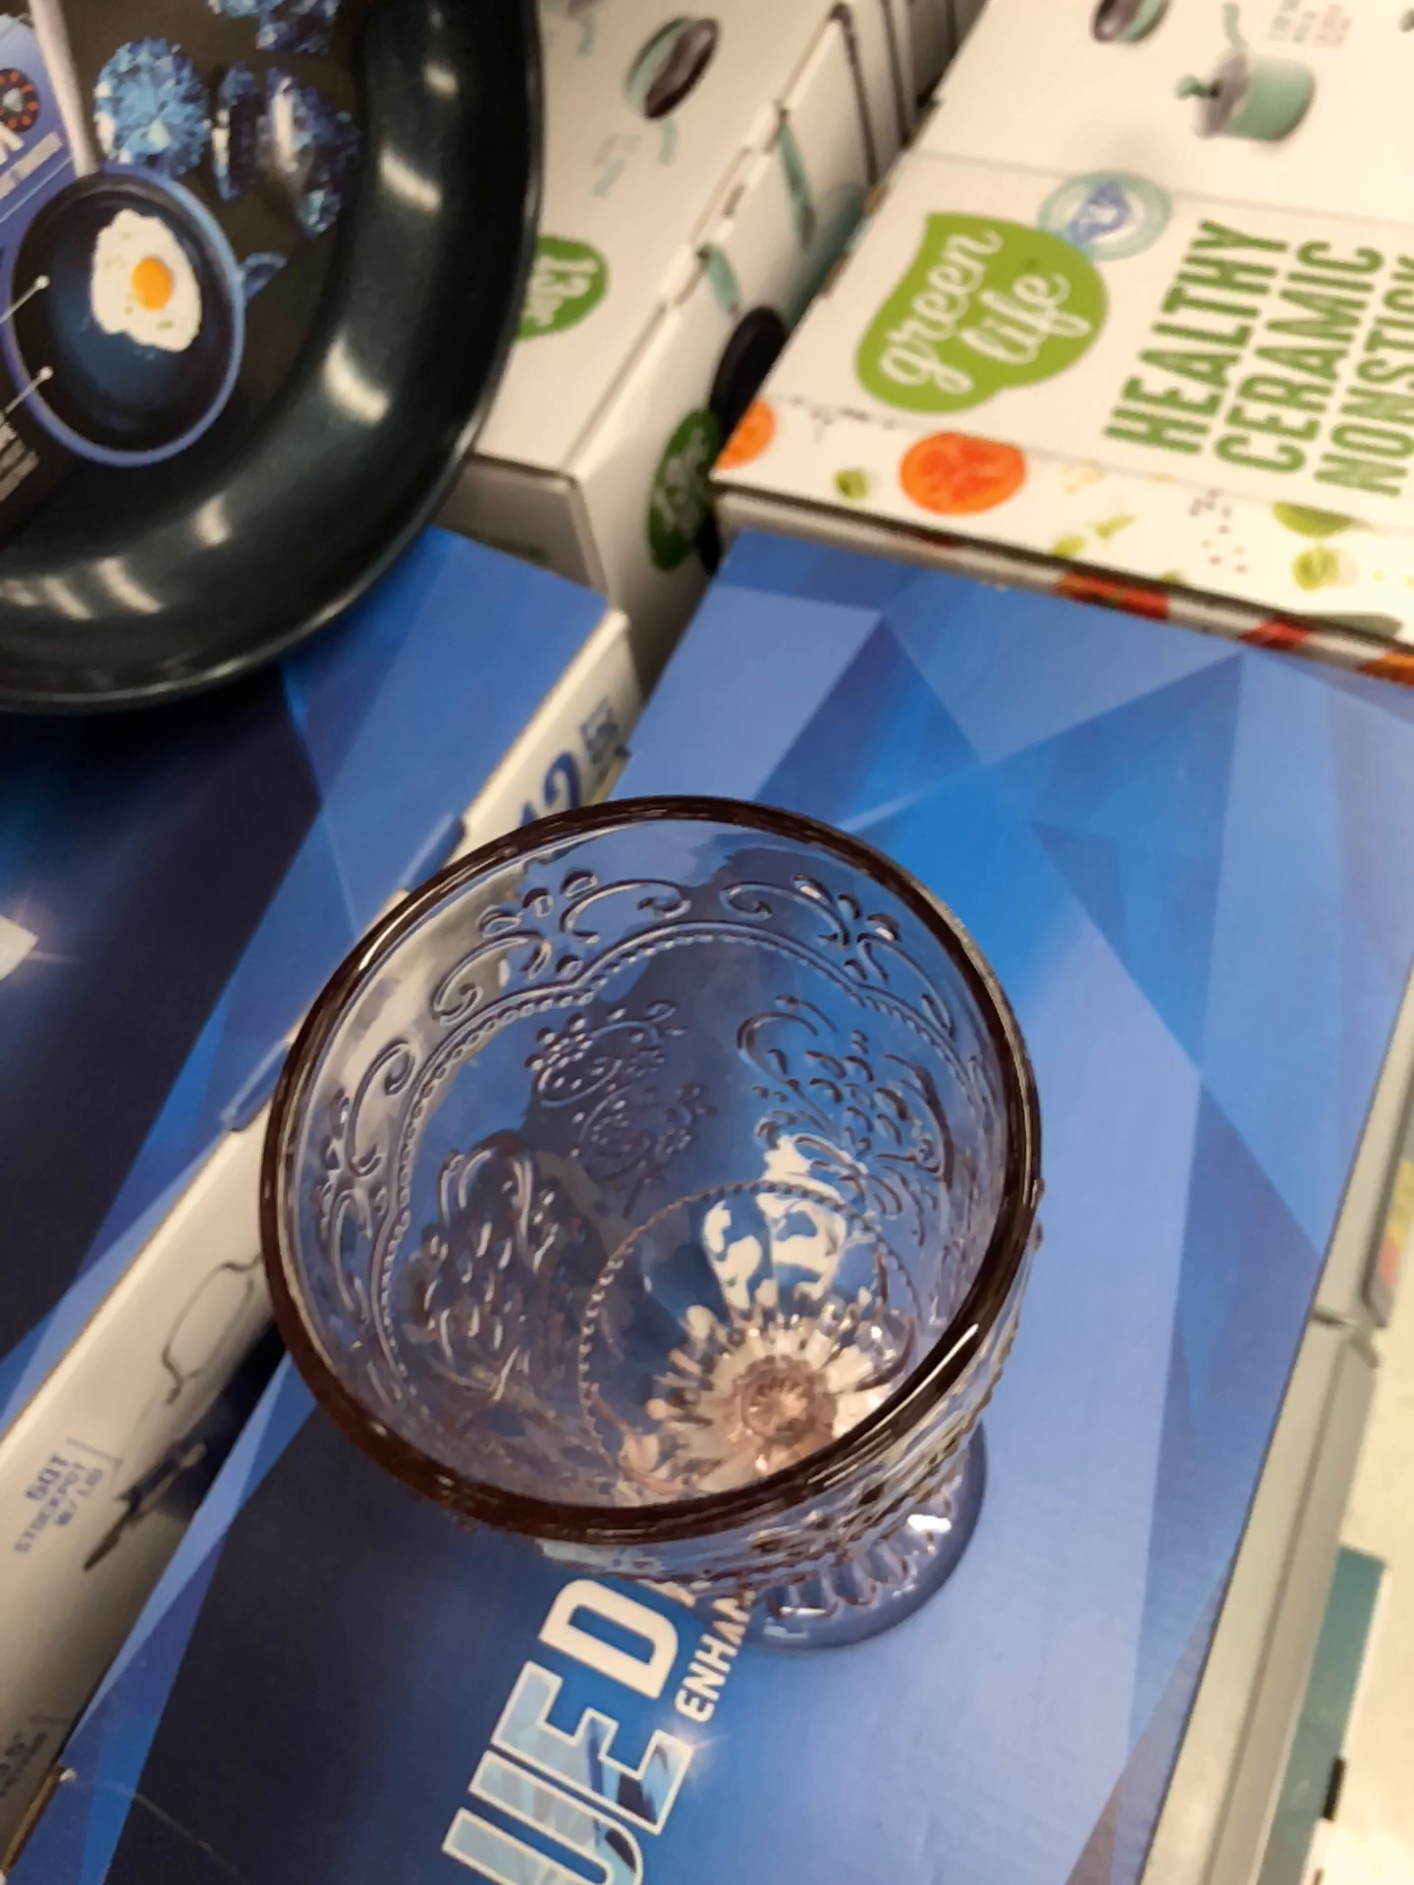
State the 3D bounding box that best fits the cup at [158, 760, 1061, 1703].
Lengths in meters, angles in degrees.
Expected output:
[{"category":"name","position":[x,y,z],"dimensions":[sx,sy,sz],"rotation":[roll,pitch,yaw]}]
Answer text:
[{"category":"cup","position":[0.007,0.058,0.240],"dimensions":[0.086,0.168,0.089],"rotation":[-5,62,9]}]
